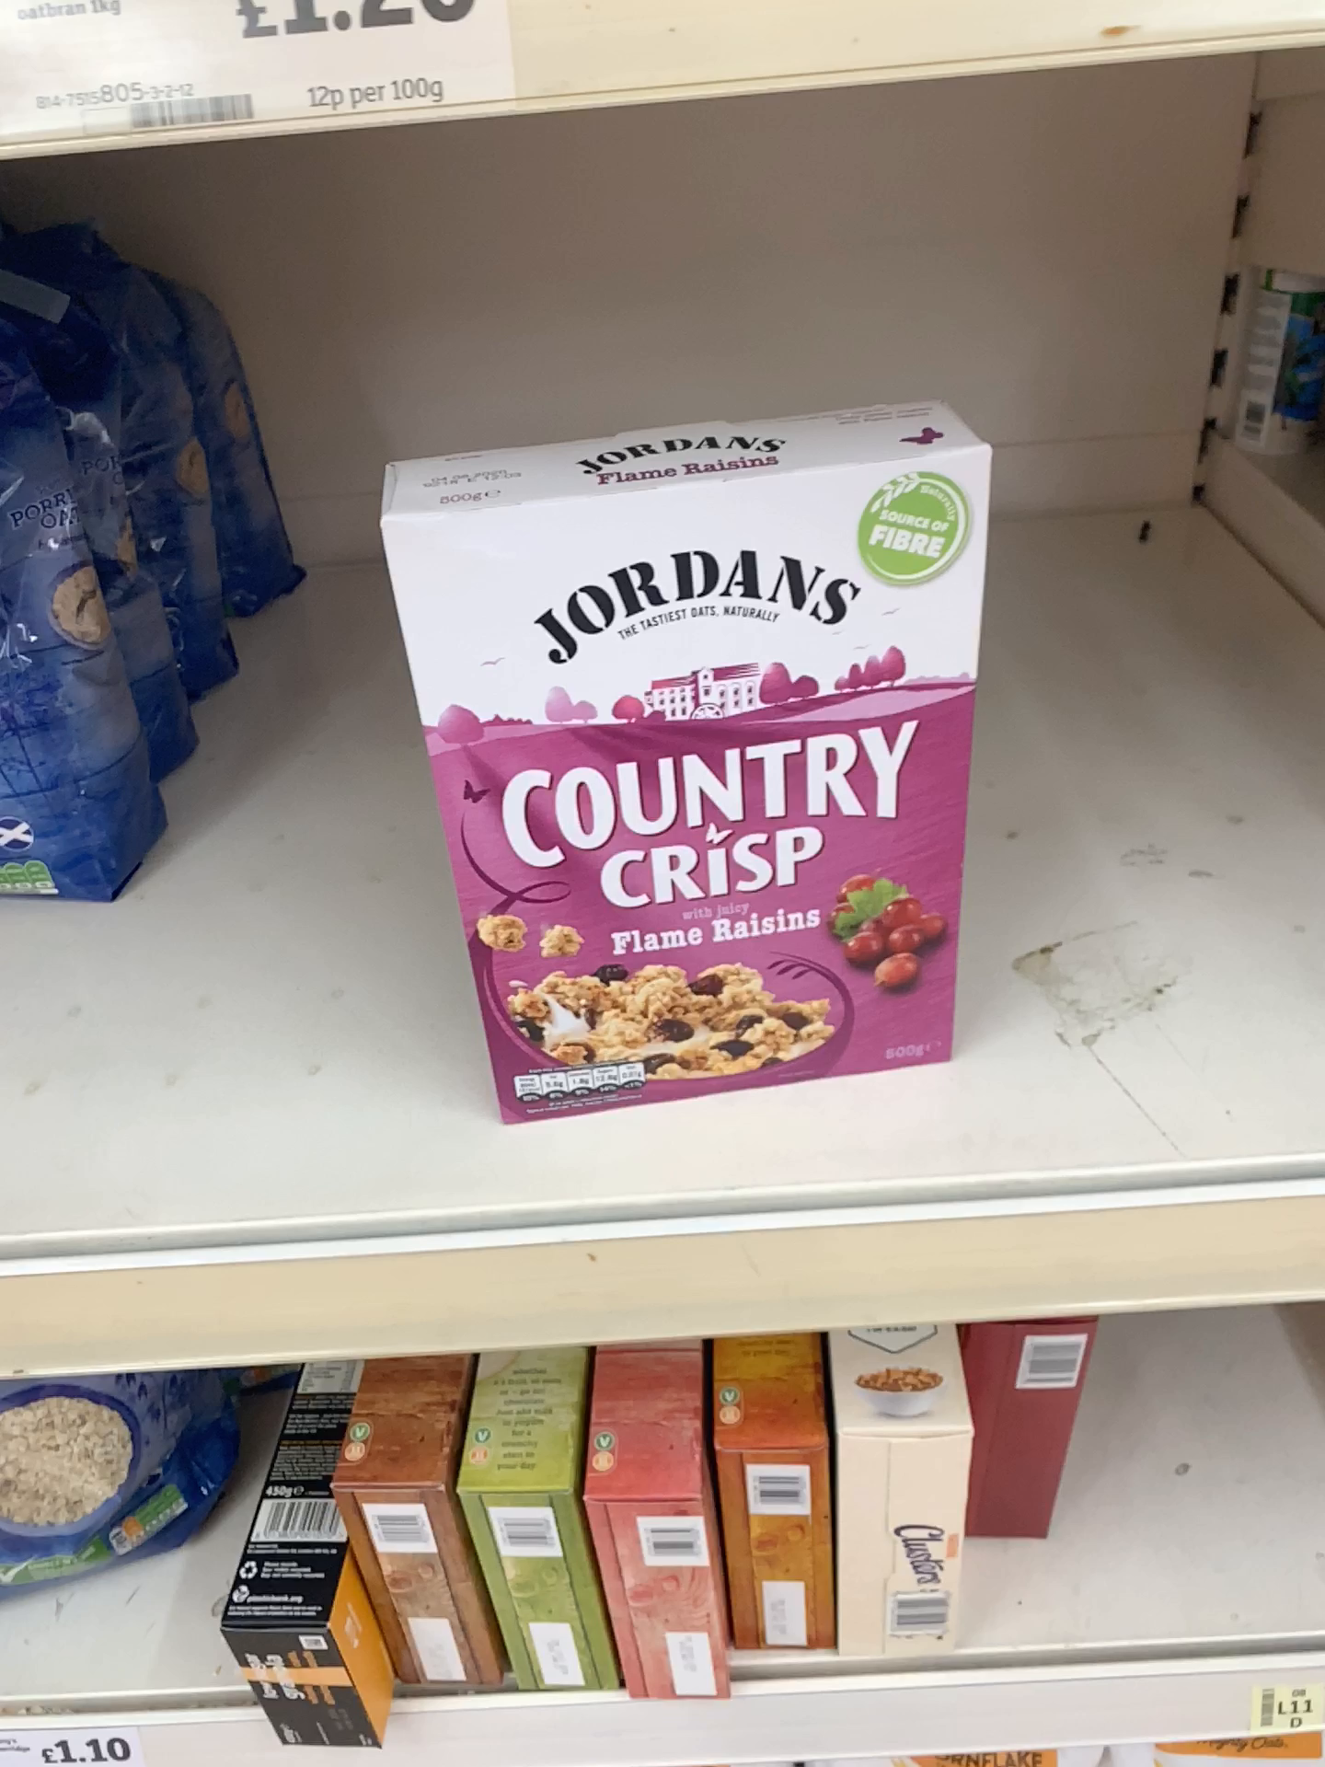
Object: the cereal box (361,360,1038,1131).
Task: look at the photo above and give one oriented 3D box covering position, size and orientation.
[{"bbox_3d":[0.017,-0.035,0.470,0.190,0.248,0.050,-8,35,-4],"label":"cereal box"}]
